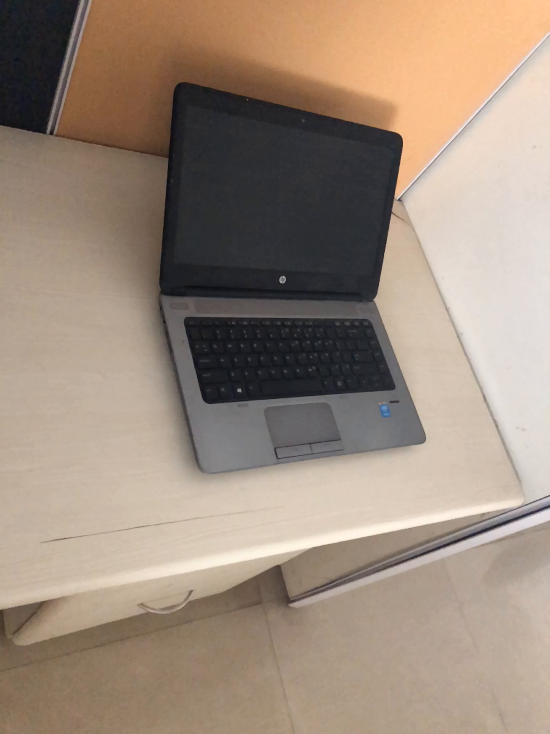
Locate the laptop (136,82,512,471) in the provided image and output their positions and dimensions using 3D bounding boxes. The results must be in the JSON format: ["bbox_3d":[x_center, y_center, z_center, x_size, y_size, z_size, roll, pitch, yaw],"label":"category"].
[{"bbox_3d":[0.049,-0.104,0.736,0.325,0.167,0.372,-3,66,-34],"label":"laptop"}]
